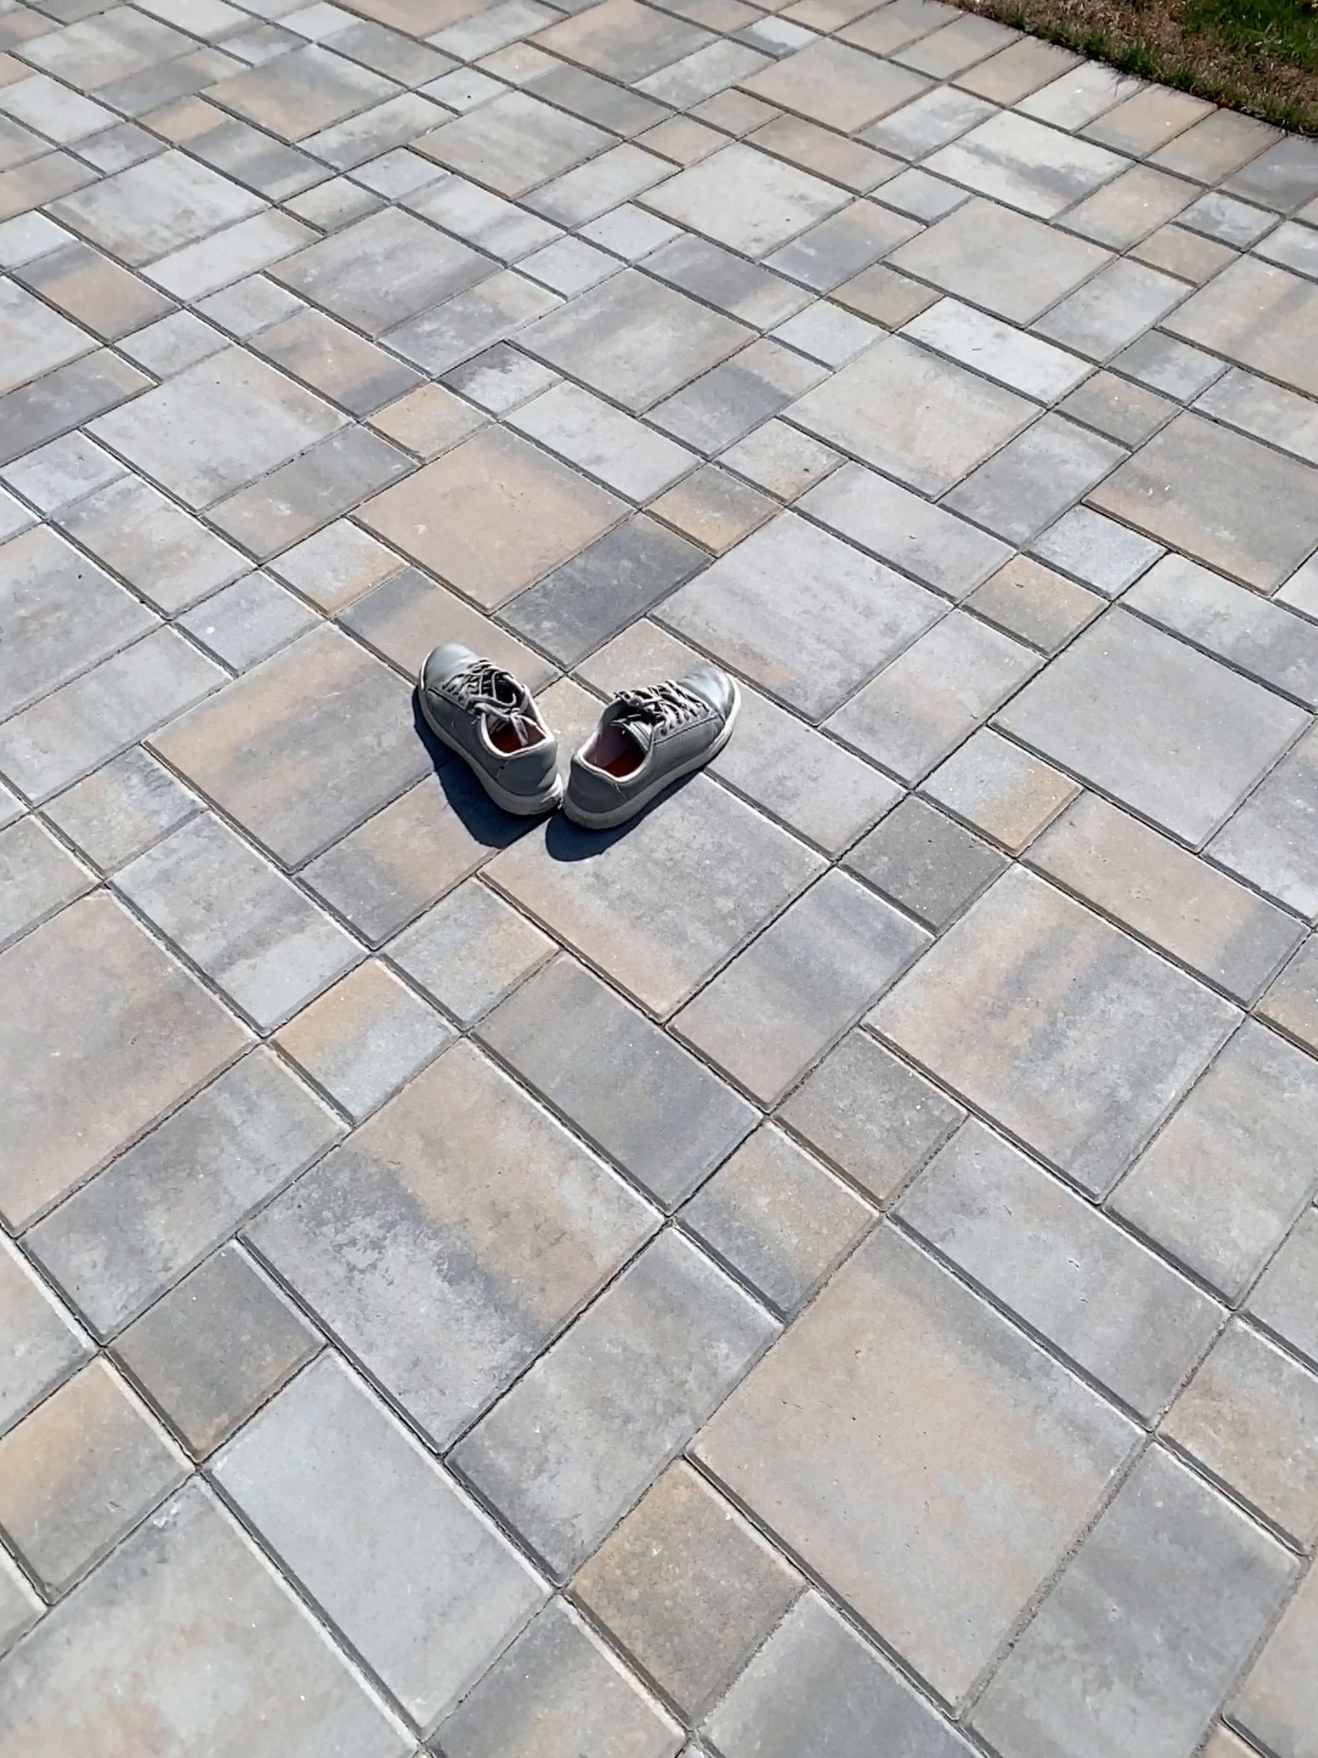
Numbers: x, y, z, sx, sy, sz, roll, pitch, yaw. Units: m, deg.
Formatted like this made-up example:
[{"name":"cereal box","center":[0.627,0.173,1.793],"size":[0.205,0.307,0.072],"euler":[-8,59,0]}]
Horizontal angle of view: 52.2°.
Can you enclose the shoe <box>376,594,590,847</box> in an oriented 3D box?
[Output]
[{"name":"shoe","center":[-0.218,-0.200,1.660],"size":[0.120,0.110,0.301],"euler":[-29,60,-19]}]

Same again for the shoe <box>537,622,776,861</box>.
[{"name":"shoe","center":[0.000,-0.173,1.645],"size":[0.120,0.090,0.300],"euler":[35,62,21]}]
